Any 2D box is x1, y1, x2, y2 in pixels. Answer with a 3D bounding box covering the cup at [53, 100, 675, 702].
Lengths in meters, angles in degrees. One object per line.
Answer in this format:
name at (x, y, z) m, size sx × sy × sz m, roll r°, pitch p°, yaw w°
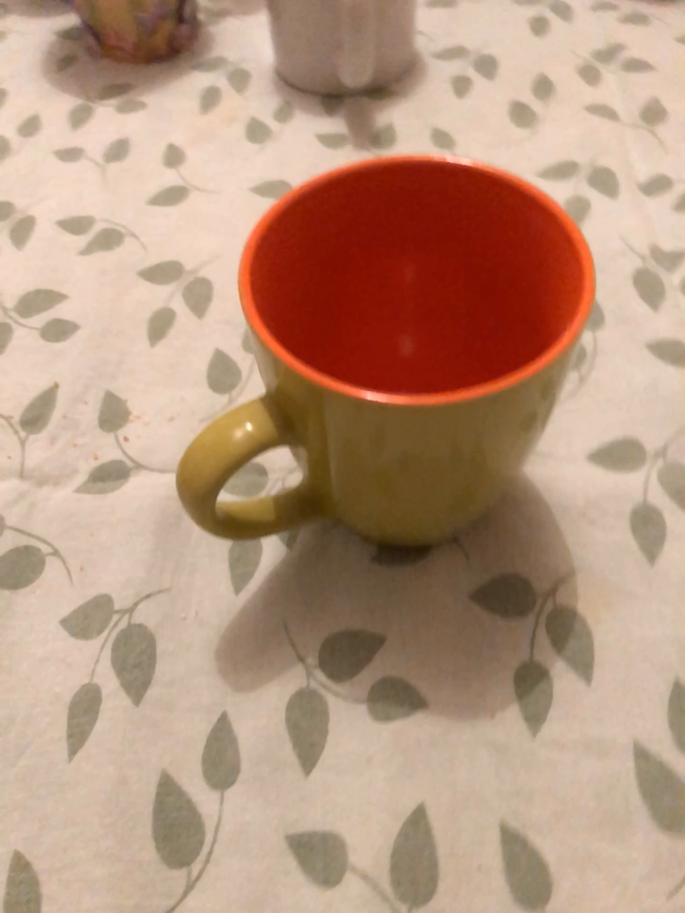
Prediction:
cup at (0.008, -0.018, 0.220) m, size 0.120 × 0.089 × 0.090 m, roll -40°, pitch 63°, yaw -21°
